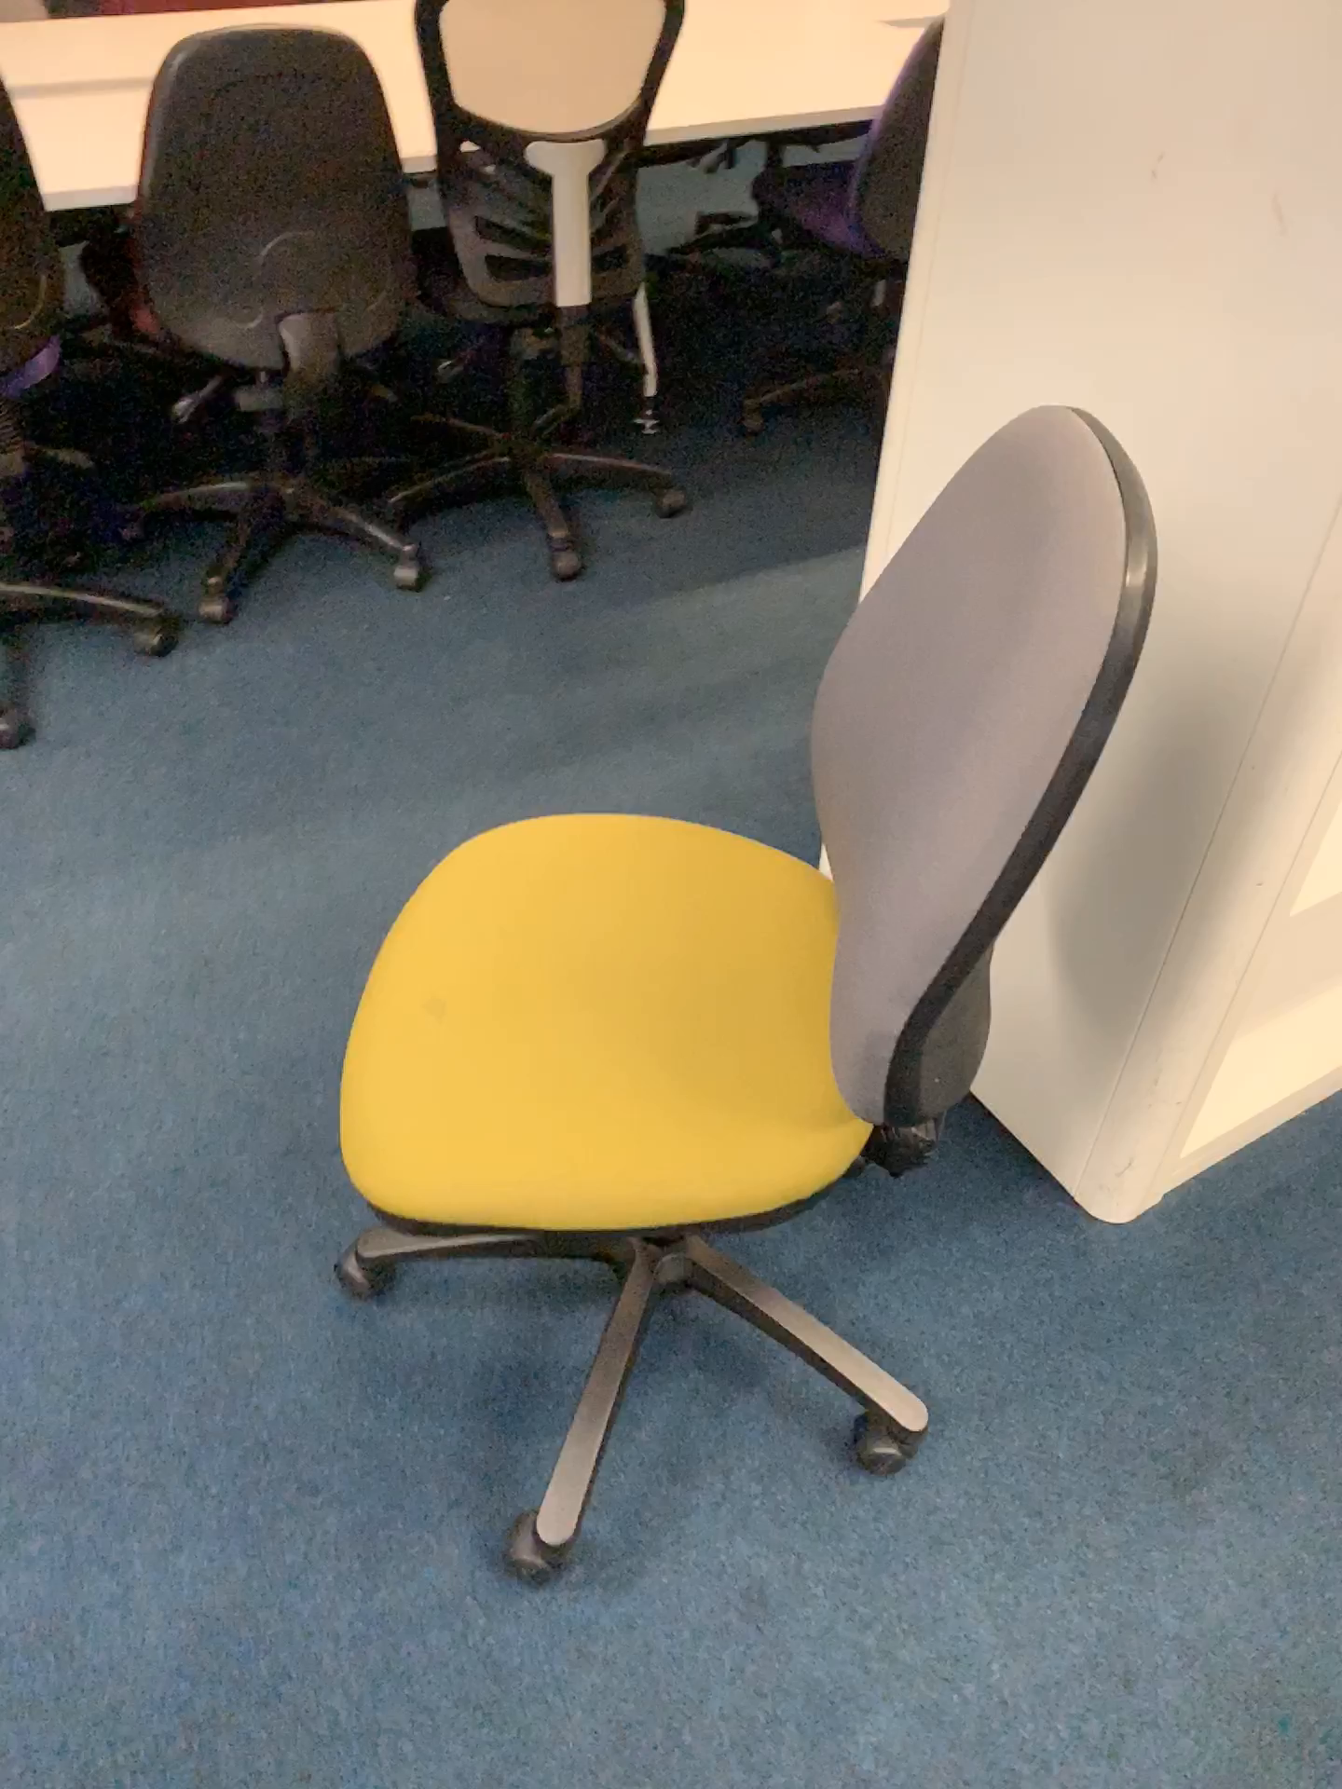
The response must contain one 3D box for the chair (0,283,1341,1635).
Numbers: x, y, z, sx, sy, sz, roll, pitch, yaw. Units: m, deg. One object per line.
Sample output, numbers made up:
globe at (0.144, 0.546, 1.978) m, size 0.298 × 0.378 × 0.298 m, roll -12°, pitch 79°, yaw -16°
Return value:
chair at (-0.022, 0.085, 1.169) m, size 0.660 × 0.921 × 0.646 m, roll 4°, pitch 42°, yaw 1°
